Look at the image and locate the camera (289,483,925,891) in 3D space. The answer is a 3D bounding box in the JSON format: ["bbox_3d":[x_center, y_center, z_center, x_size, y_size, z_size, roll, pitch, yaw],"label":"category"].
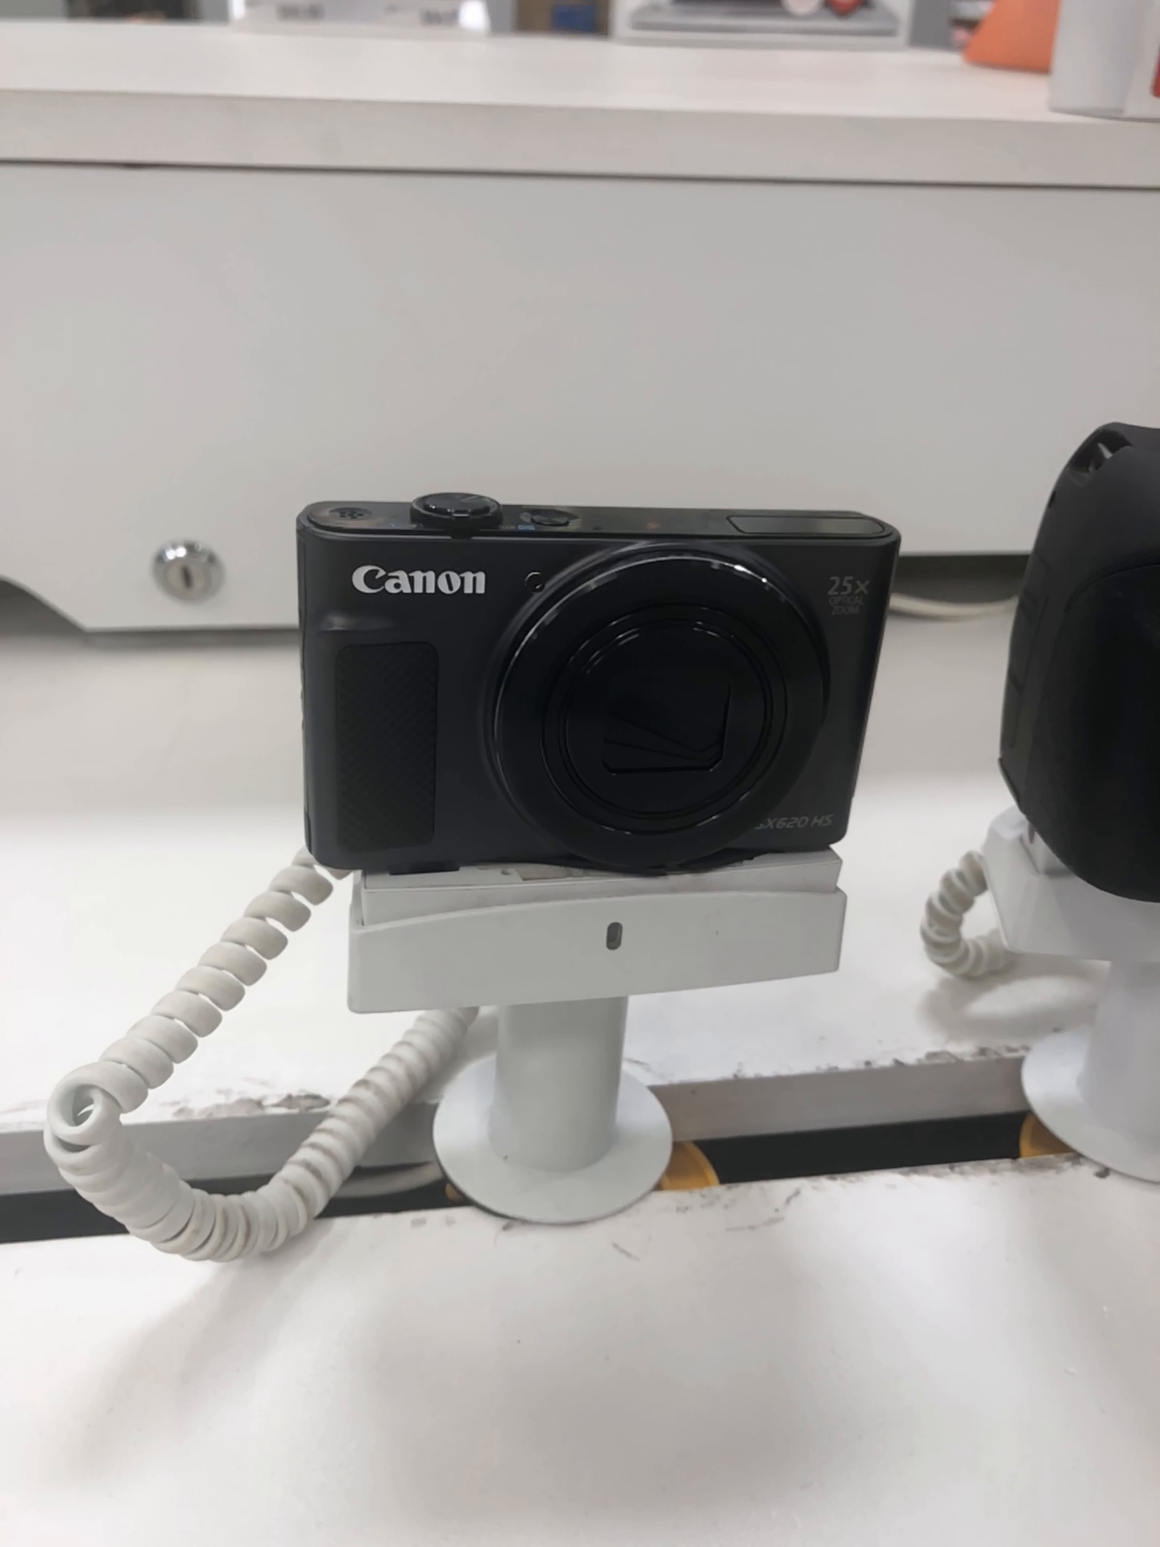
[{"bbox_3d":[0.002,-0.014,0.210,0.093,0.057,0.025,-2,30,-12],"label":"camera"}]
